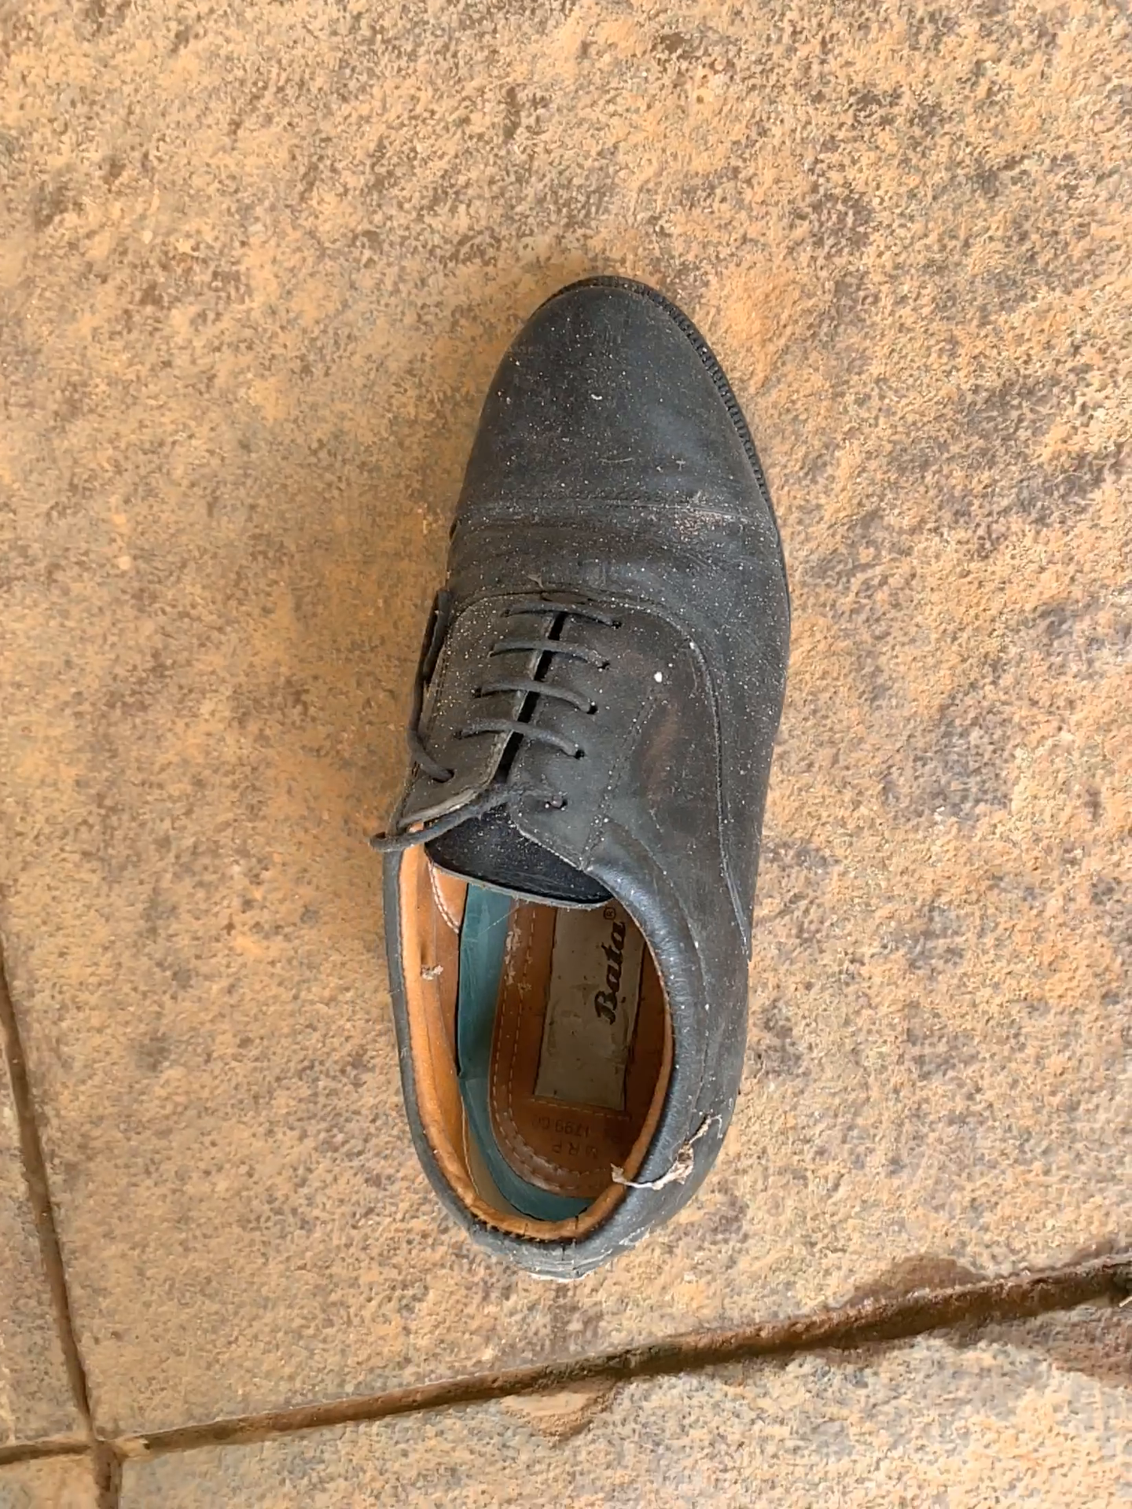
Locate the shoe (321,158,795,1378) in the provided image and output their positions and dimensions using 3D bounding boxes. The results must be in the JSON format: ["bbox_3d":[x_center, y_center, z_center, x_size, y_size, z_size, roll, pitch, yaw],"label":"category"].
[{"bbox_3d":[0.005,0.002,0.316,0.100,0.090,0.270,-1,85,18],"label":"shoe"}]
